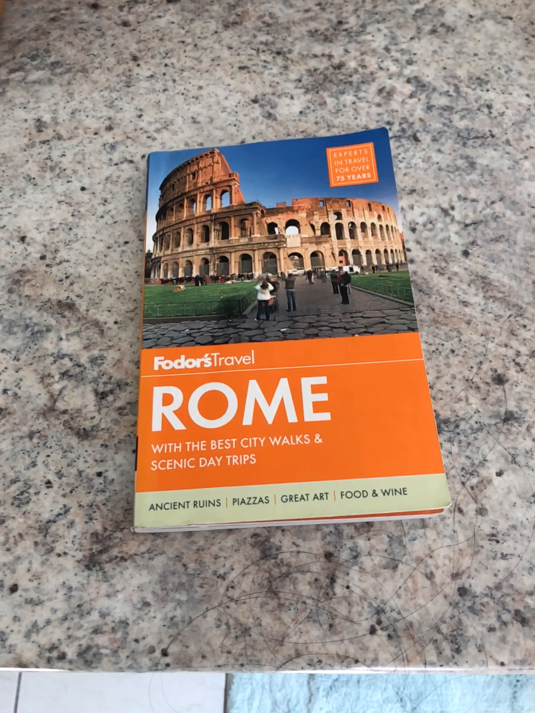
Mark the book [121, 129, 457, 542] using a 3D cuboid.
[{"bbox_3d":[0.004,-0.020,0.297,0.139,0.024,0.207,-4,66,2],"label":"book"}]
